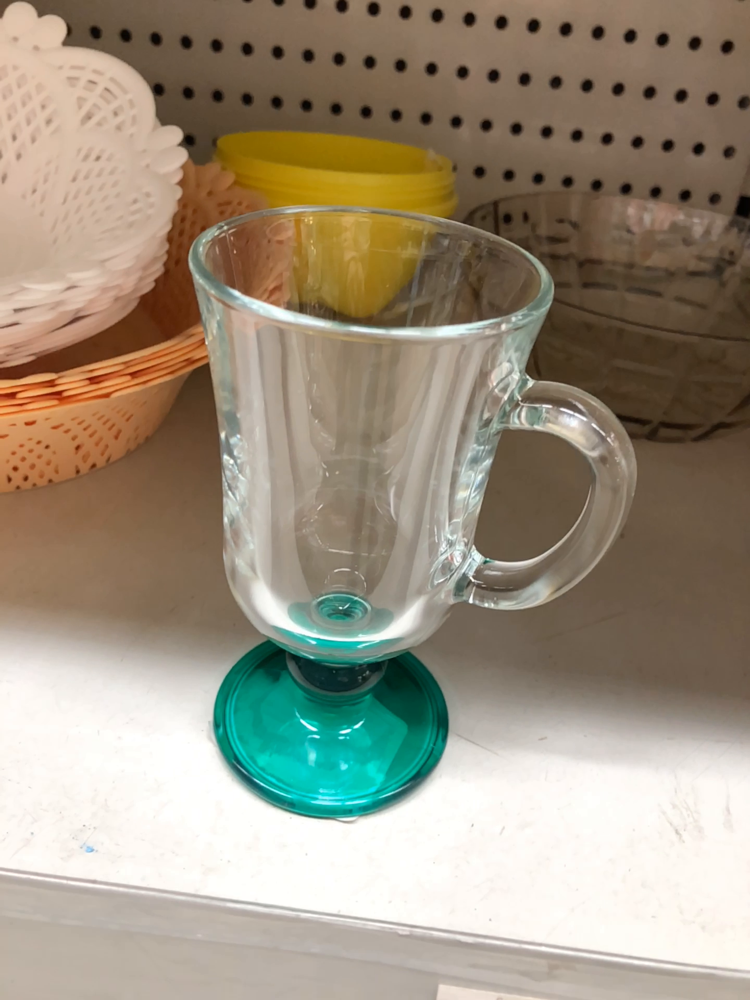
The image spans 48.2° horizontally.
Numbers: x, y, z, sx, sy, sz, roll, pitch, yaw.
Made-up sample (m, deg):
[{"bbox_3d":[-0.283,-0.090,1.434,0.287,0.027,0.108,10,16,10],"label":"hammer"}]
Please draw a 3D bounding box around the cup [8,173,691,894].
[{"bbox_3d":[0.001,0.003,0.193,0.107,0.118,0.086,12,36,12],"label":"cup"}]
